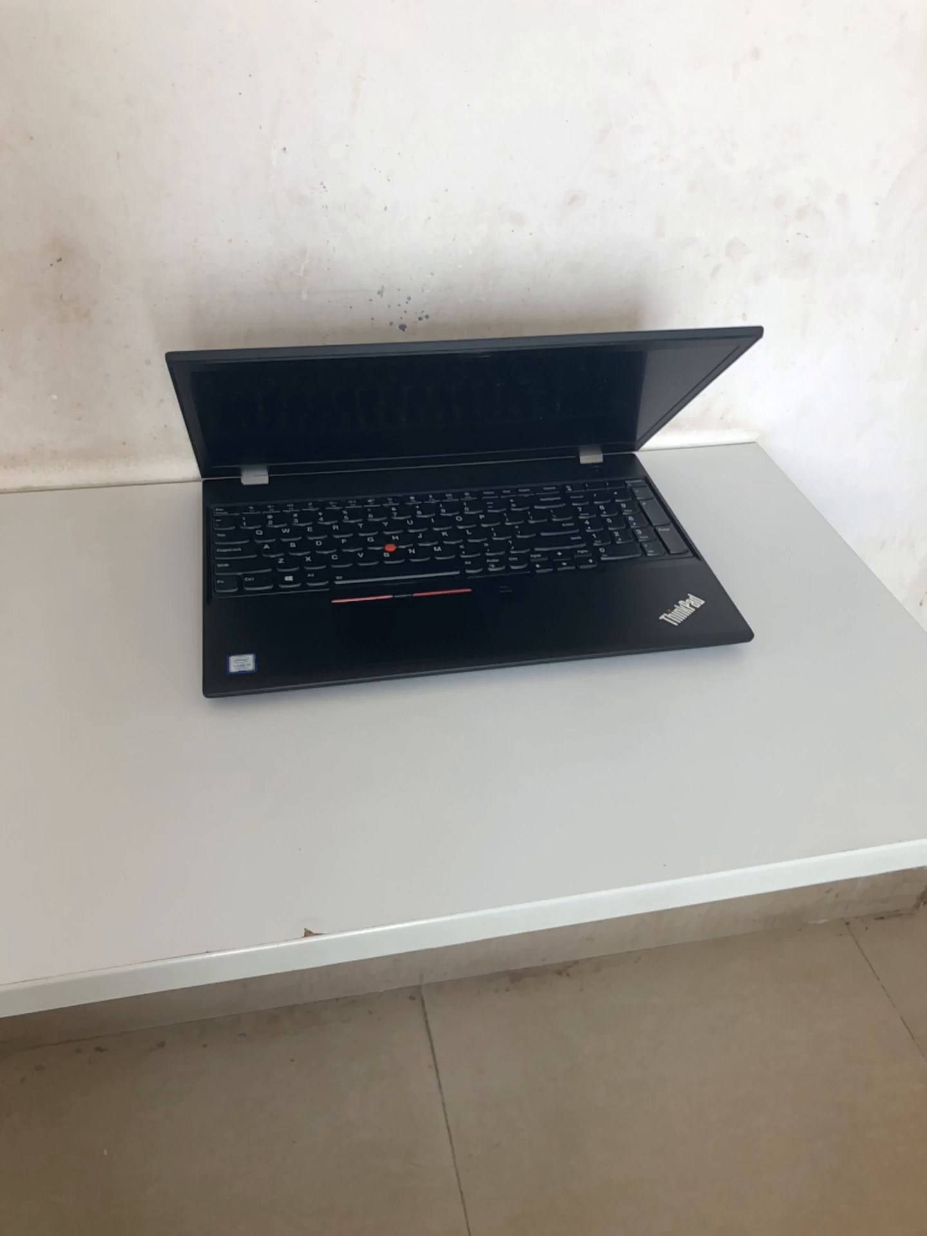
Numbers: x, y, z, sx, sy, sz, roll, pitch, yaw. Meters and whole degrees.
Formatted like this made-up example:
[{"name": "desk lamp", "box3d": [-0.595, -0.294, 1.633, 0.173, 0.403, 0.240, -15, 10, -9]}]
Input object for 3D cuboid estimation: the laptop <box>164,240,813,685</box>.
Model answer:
[{"name": "laptop", "box3d": [-0.006, -0.117, 0.677, 0.347, 0.173, 0.235, -5, 39, -9]}]
